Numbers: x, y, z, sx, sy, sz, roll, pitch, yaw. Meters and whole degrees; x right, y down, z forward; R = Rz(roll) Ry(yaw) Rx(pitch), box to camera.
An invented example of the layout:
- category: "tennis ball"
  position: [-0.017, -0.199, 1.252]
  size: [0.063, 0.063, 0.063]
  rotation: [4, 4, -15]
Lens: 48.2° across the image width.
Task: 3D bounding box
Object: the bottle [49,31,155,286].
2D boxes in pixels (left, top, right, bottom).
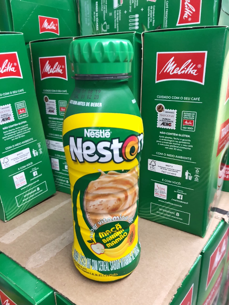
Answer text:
- category: "bottle"
  position: [-0.007, 0.007, 0.200]
  size: [0.060, 0.179, 0.060]
  rotation: [-1, 17, 0]
